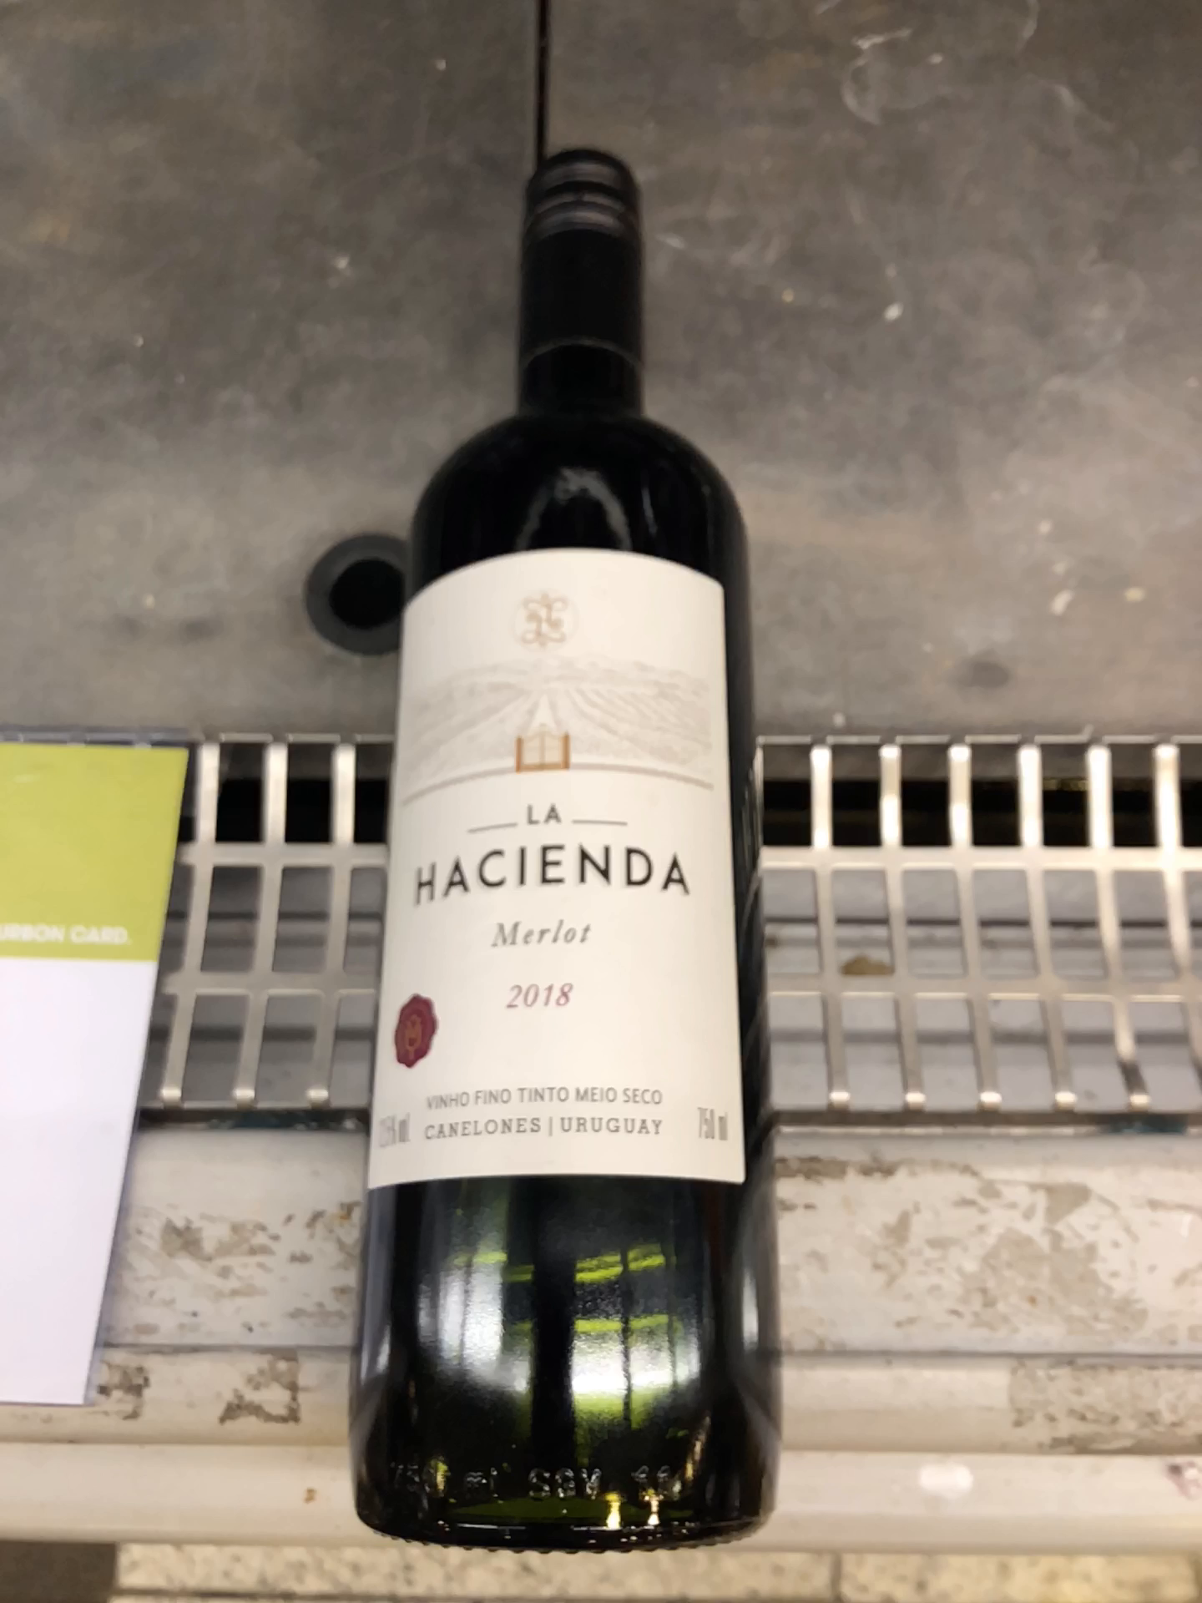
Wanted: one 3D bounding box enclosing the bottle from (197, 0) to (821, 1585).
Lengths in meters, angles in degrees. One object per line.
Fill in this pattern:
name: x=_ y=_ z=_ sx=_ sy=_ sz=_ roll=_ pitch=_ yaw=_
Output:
bottle: x=-0.010 y=-0.027 z=0.261 sx=0.080 sy=0.070 sz=0.301 roll=0 pitch=68 yaw=1
